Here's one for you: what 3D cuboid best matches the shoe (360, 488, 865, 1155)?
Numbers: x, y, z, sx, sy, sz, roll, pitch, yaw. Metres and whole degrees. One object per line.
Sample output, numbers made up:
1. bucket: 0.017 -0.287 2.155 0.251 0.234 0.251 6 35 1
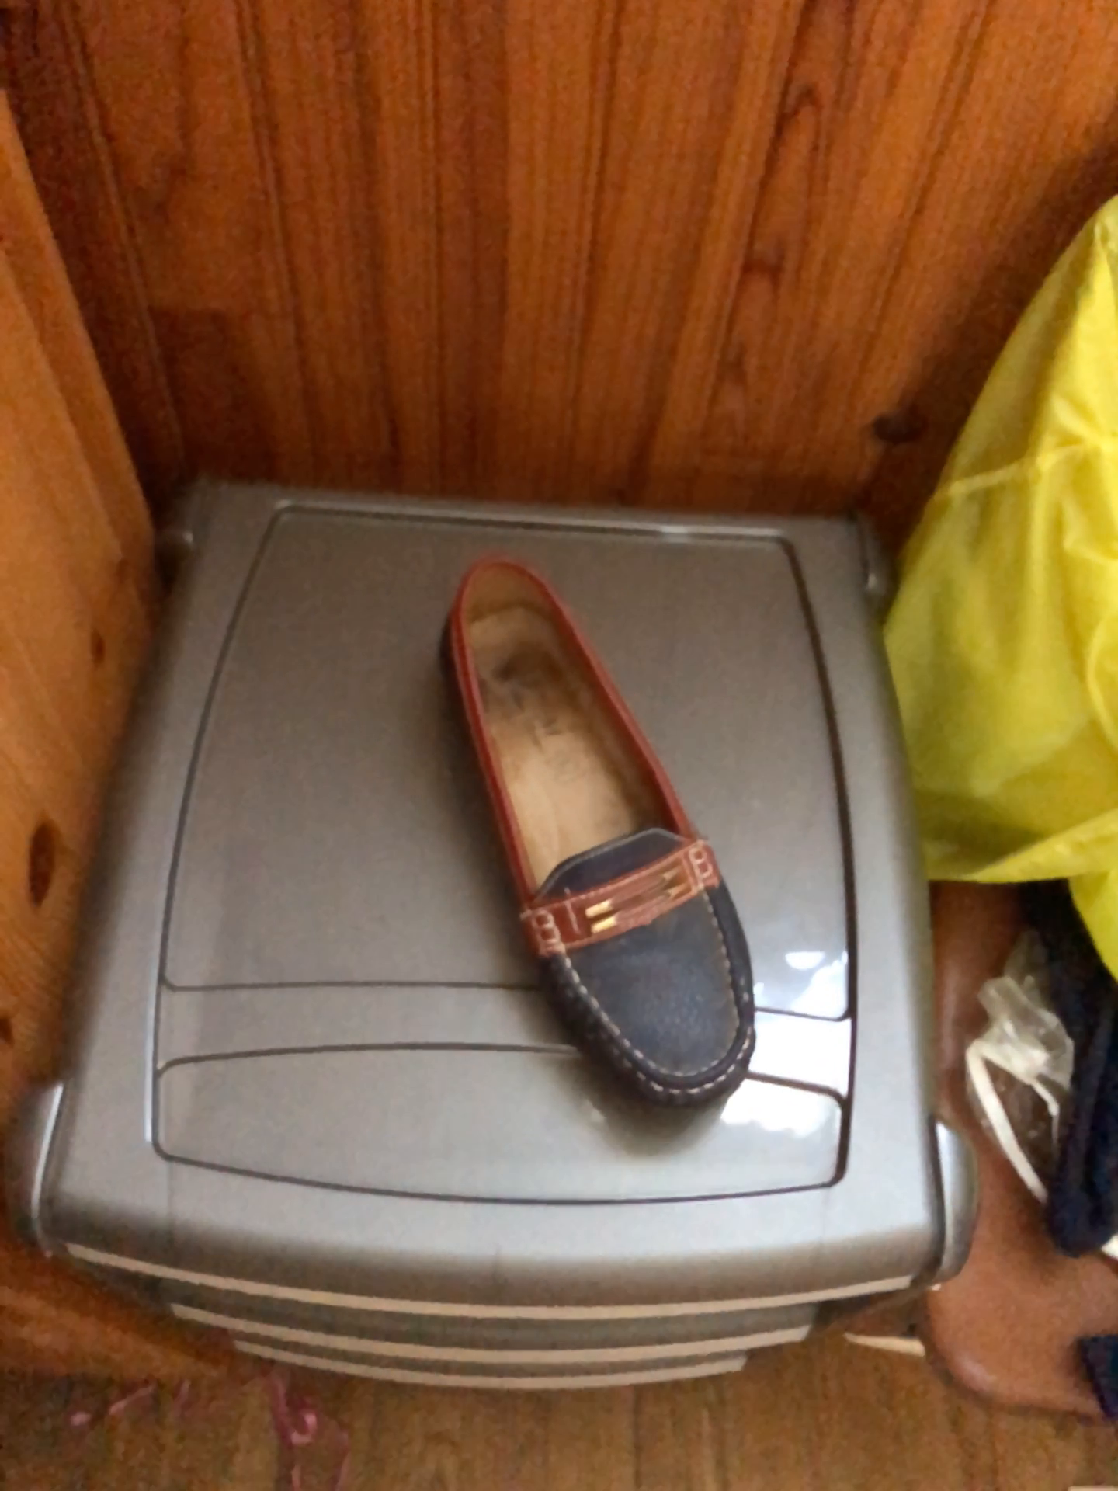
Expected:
1. shoe: 0.010 0.021 0.523 0.100 0.070 0.261 -19 62 -15
